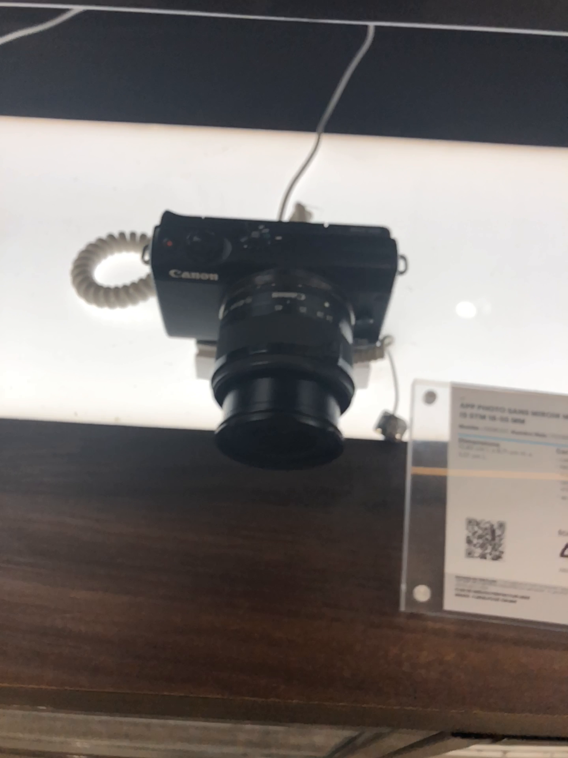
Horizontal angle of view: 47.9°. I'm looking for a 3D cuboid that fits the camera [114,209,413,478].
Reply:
[{"bbox_3d":[-0.006,-0.016,0.295,0.112,0.071,0.094,3,55,1],"label":"camera"}]
